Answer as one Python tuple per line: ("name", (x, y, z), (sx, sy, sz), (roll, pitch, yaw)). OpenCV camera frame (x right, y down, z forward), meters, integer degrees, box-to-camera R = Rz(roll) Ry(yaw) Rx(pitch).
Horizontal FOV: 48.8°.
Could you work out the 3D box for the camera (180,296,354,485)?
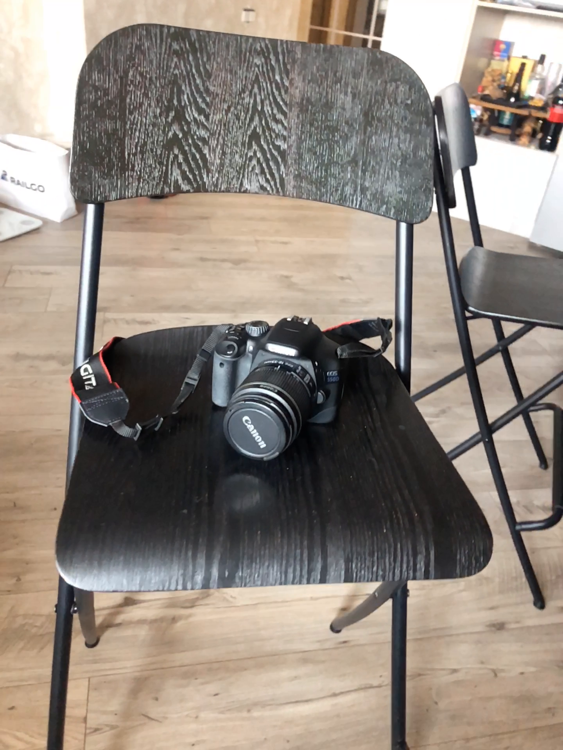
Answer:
("camera", (-0.011, 0.008, 0.589), (0.120, 0.092, 0.141), (14, 34, 11))
